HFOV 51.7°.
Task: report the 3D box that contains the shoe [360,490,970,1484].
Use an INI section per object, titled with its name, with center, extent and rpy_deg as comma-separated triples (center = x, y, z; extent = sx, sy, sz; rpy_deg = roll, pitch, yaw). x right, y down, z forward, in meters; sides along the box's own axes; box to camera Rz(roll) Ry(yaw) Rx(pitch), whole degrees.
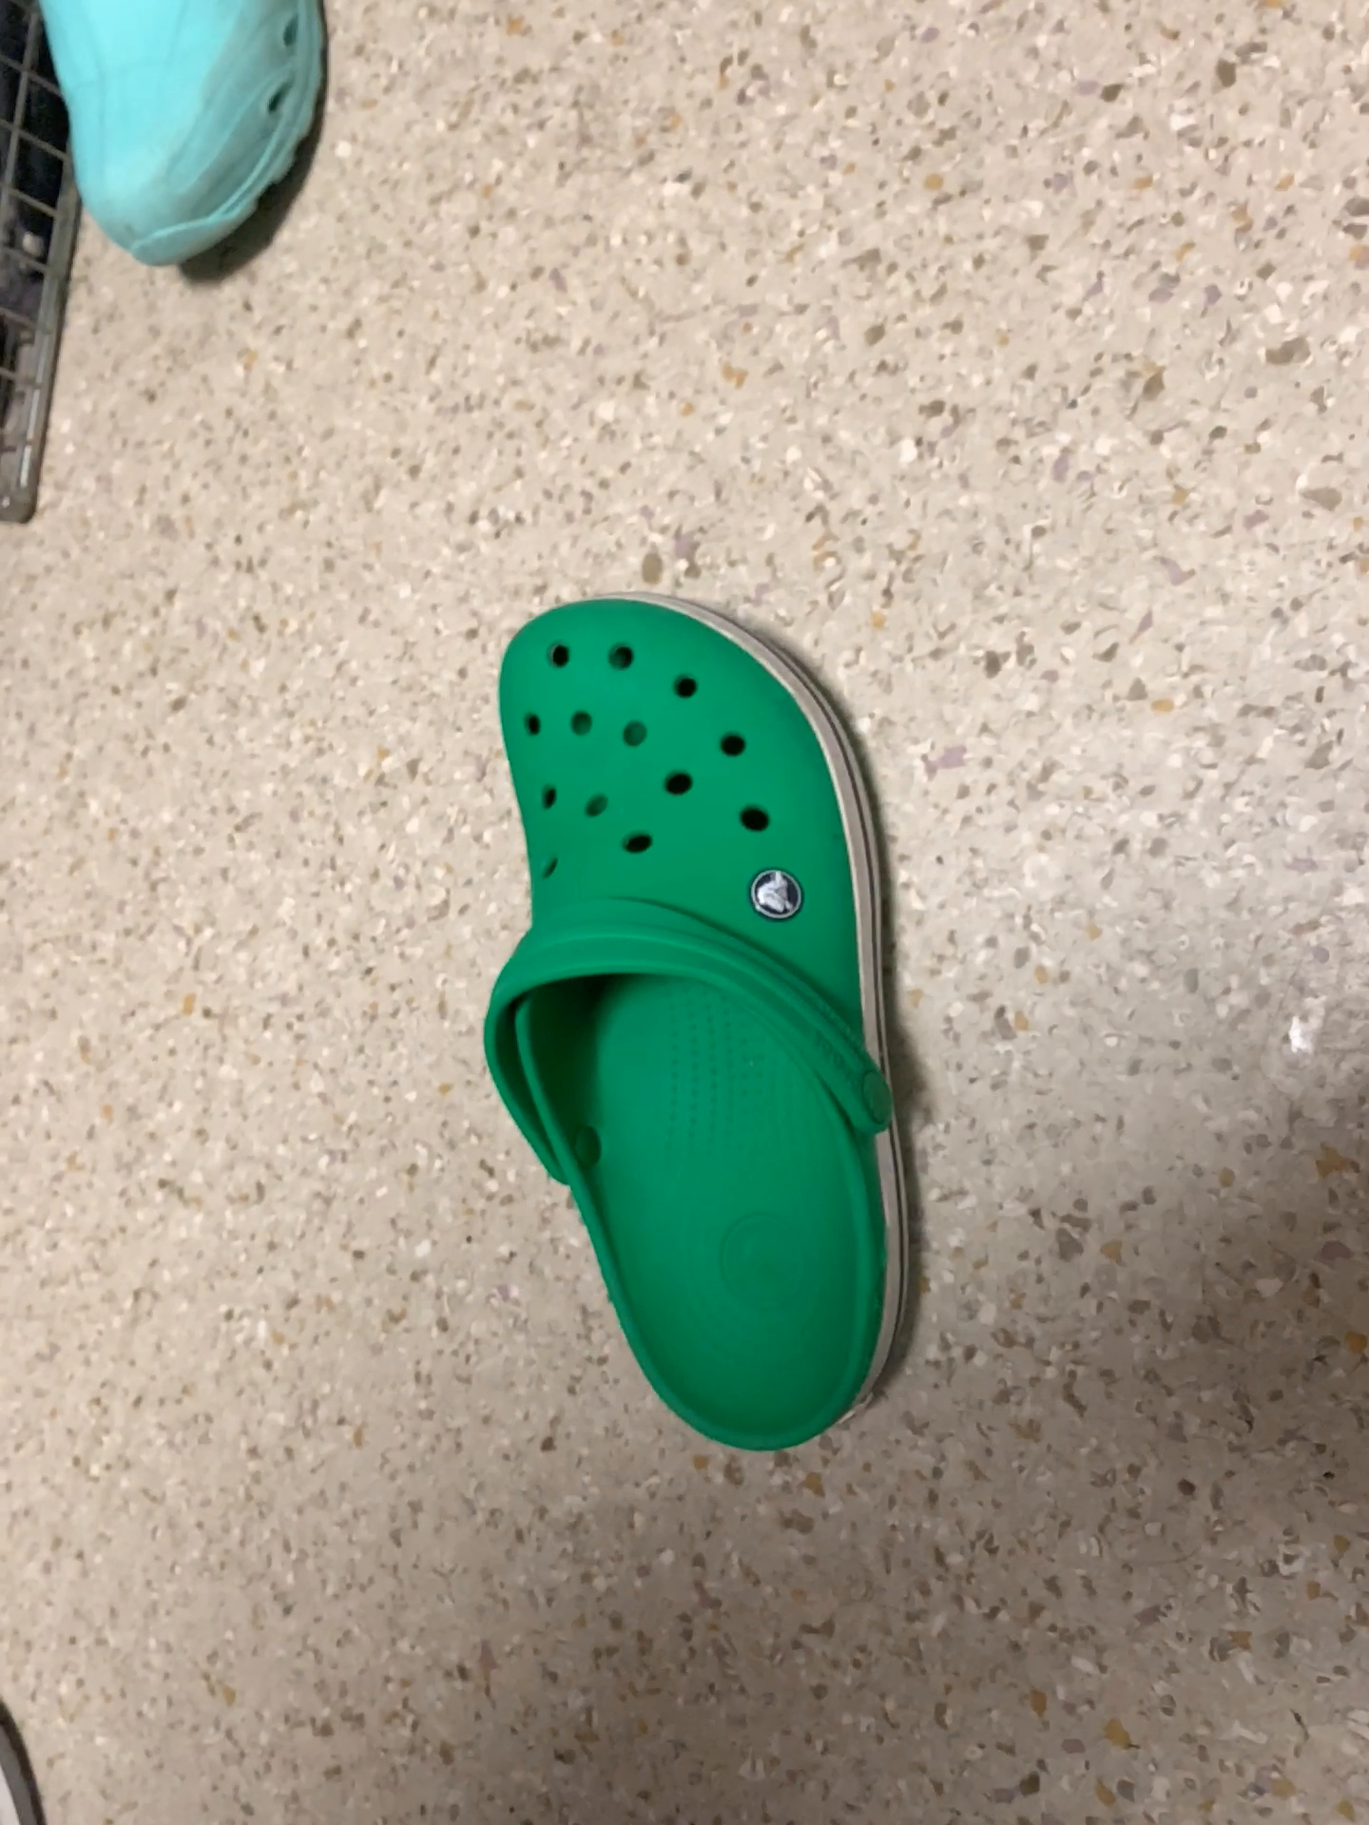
[shoe]
center = -0.007, 0.024, 0.391
extent = 0.108, 0.082, 0.234
rpy_deg = -14, 80, 29
